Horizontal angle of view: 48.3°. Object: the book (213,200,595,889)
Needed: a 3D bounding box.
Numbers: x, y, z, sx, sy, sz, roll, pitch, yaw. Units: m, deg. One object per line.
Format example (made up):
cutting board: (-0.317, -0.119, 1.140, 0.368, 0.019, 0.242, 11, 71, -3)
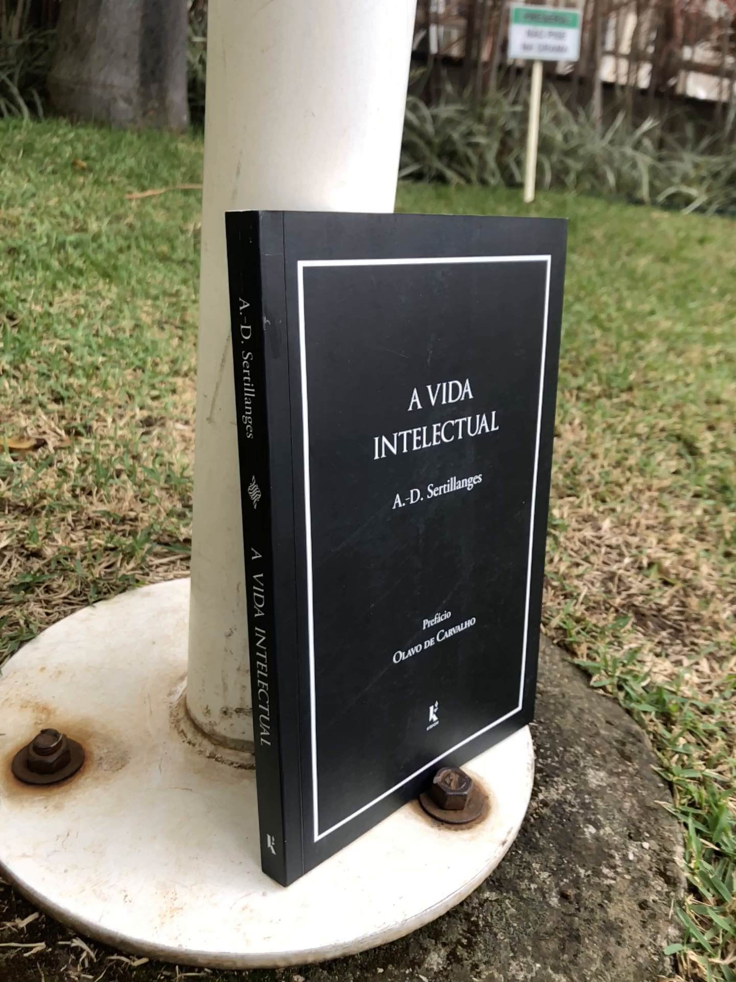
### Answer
book: (0.021, 0.008, 0.273, 0.141, 0.193, 0.025, -16, 22, -42)
